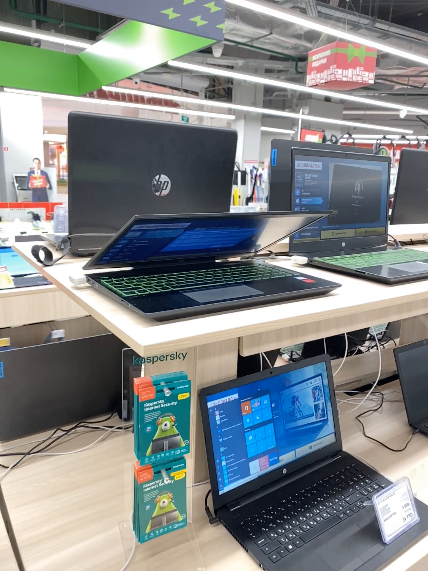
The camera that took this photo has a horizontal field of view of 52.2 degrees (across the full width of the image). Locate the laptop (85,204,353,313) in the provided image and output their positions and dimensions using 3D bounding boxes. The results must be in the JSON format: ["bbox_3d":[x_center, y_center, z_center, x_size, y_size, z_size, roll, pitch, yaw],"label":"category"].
[{"bbox_3d":[0.006,-0.064,0.729,0.364,0.115,0.244,-6,16,-33],"label":"laptop"}]
